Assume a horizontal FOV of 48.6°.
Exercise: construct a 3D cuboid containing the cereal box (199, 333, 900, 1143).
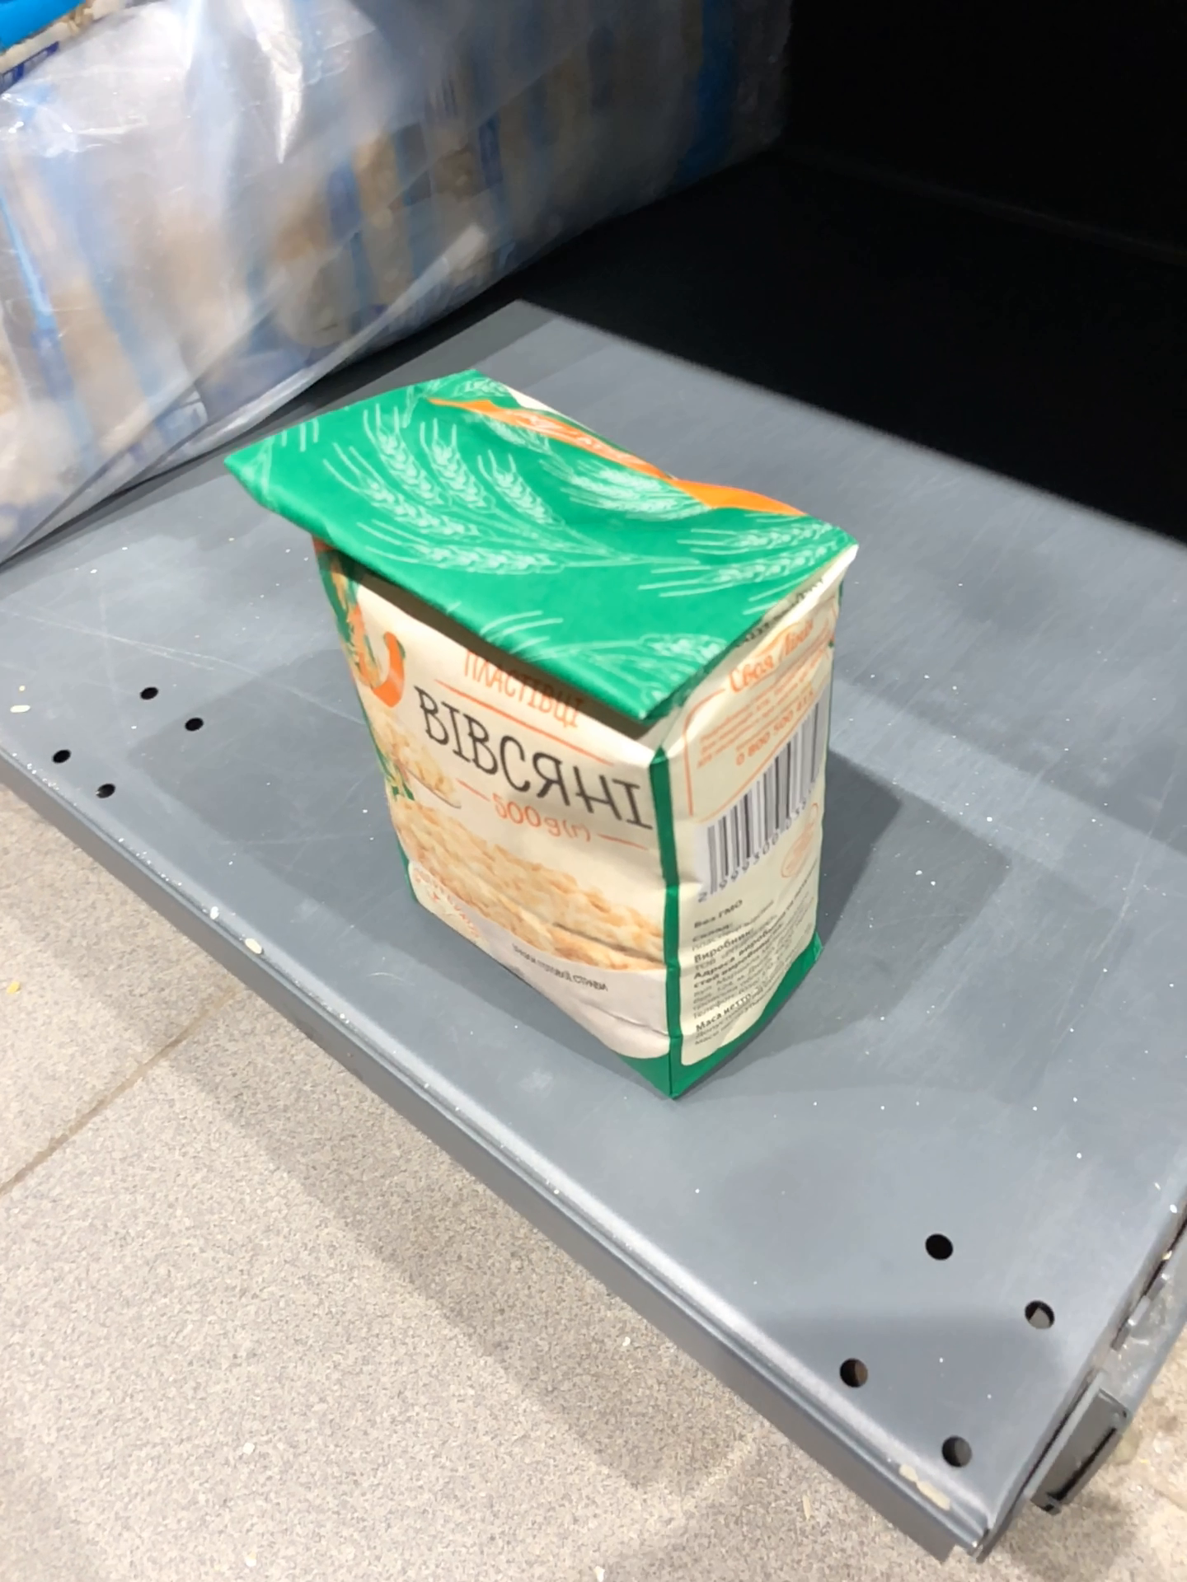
[{"bbox_3d":[-0.007,-0.010,0.306,0.120,0.139,0.070,30,57,28],"label":"cereal box"}]
